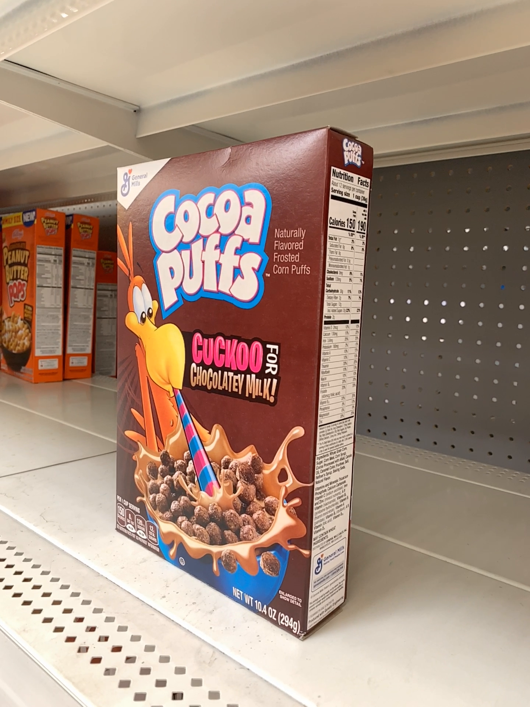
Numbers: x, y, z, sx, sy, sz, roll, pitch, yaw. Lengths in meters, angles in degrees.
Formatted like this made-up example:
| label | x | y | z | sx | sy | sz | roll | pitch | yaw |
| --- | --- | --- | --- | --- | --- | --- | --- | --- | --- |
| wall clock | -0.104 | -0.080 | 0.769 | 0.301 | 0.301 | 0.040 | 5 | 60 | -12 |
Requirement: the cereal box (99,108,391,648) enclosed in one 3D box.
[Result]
| label | x | y | z | sx | sy | sz | roll | pitch | yaw |
| --- | --- | --- | --- | --- | --- | --- | --- | --- | --- |
| cereal box | -0.030 | 0.006 | 0.345 | 0.200 | 0.260 | 0.050 | 8 | 8 | 42 |
